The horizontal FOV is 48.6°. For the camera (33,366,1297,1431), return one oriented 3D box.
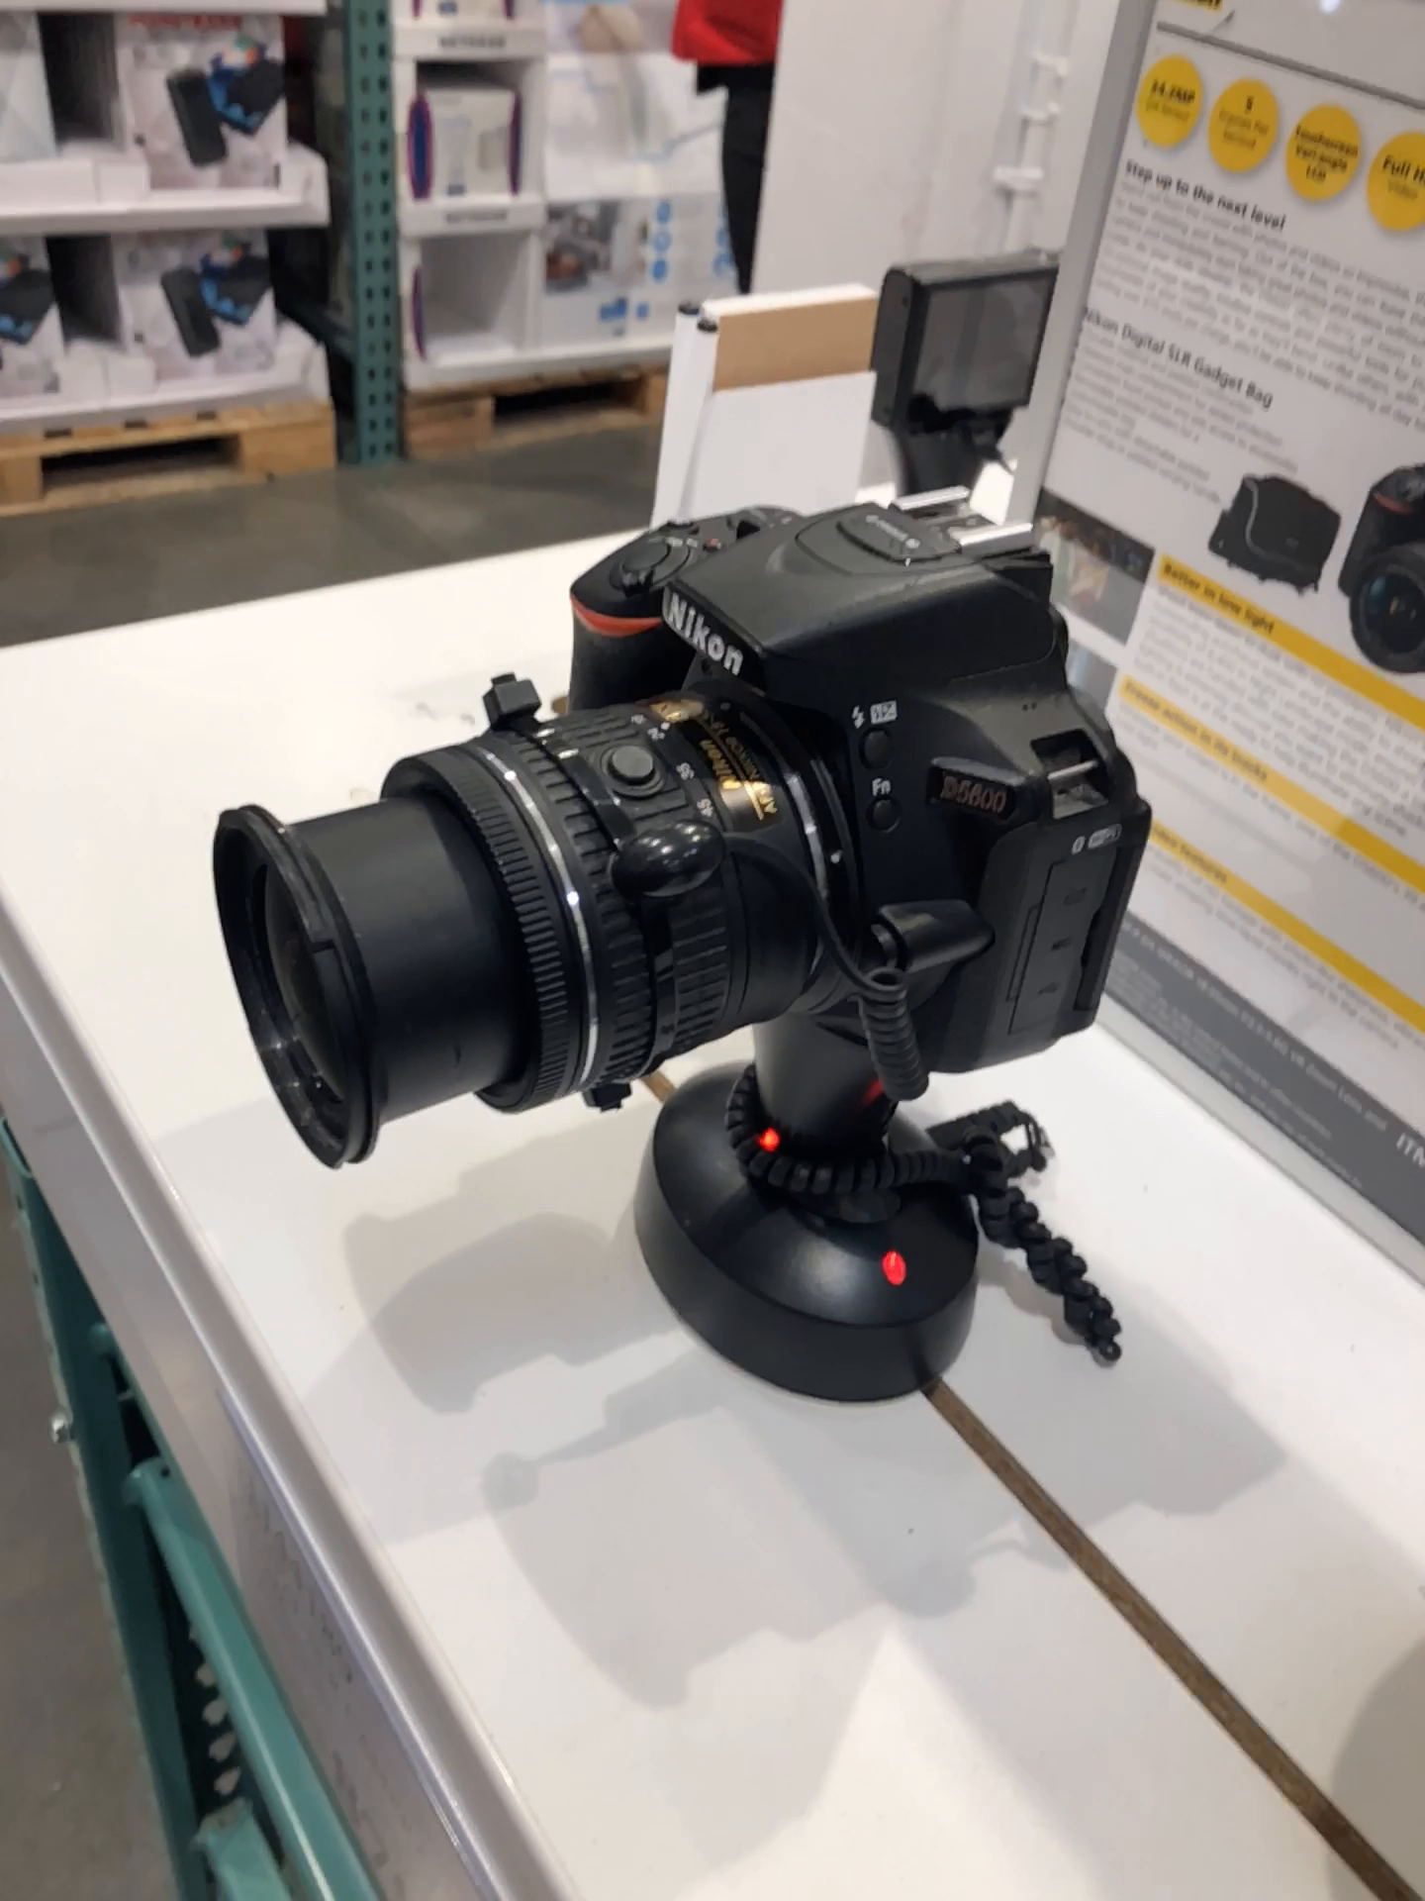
[{"bbox_3d":[-0.016,-0.027,0.290,0.160,0.099,0.141,-17,44,-28],"label":"camera"}]
